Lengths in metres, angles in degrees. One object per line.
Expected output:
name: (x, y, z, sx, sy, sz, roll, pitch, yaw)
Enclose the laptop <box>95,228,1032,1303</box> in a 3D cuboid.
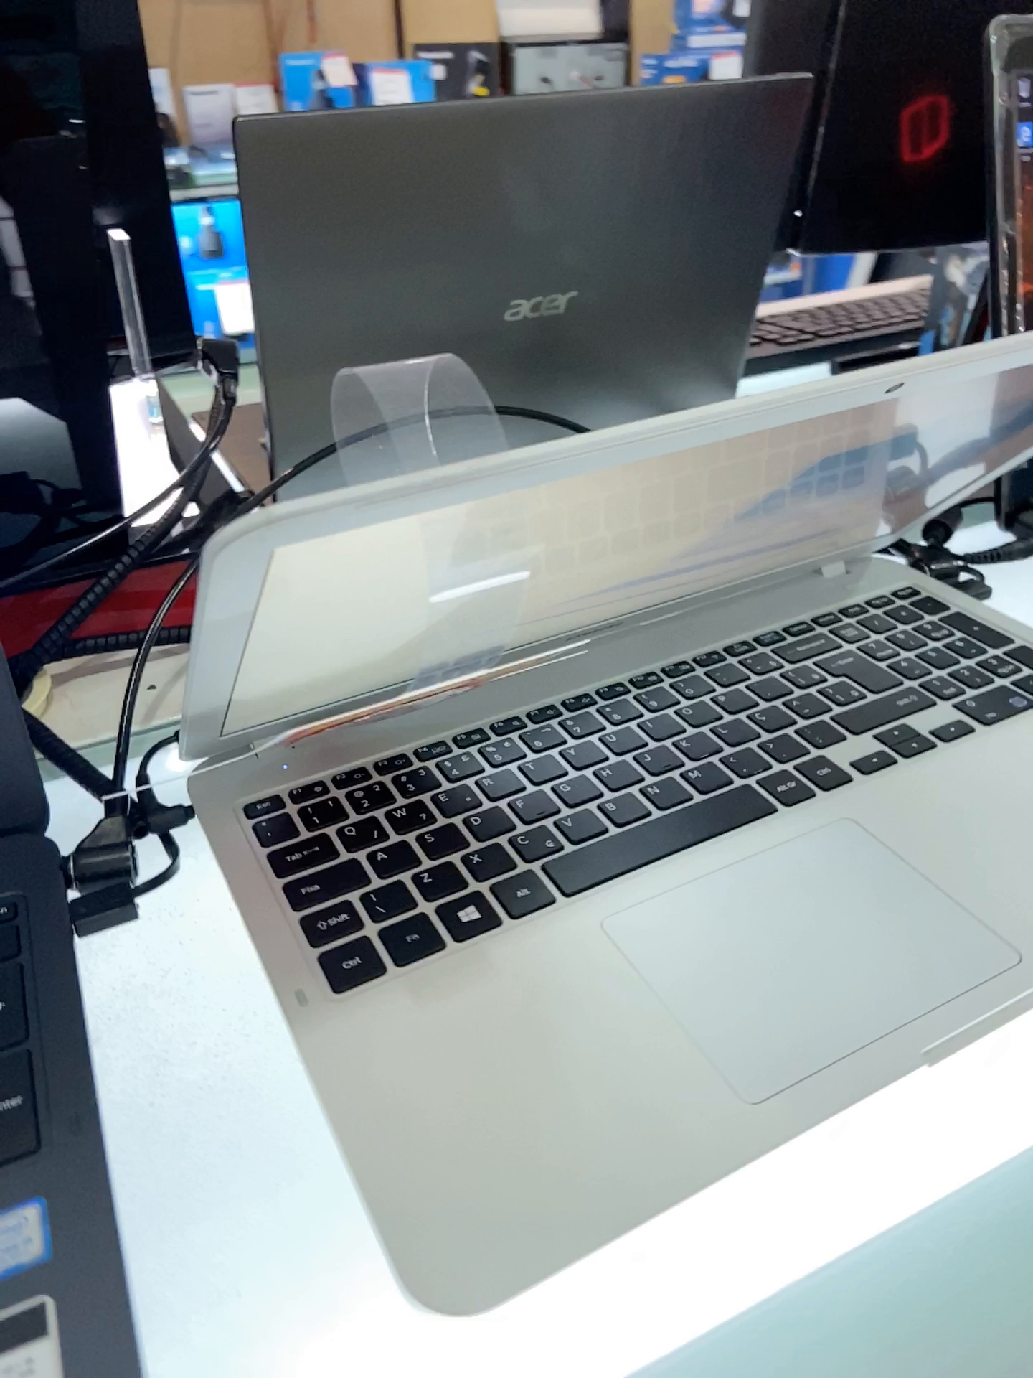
laptop: (0.086, -0.033, 0.360, 0.367, 0.162, 0.233, -17, 35, -22)
